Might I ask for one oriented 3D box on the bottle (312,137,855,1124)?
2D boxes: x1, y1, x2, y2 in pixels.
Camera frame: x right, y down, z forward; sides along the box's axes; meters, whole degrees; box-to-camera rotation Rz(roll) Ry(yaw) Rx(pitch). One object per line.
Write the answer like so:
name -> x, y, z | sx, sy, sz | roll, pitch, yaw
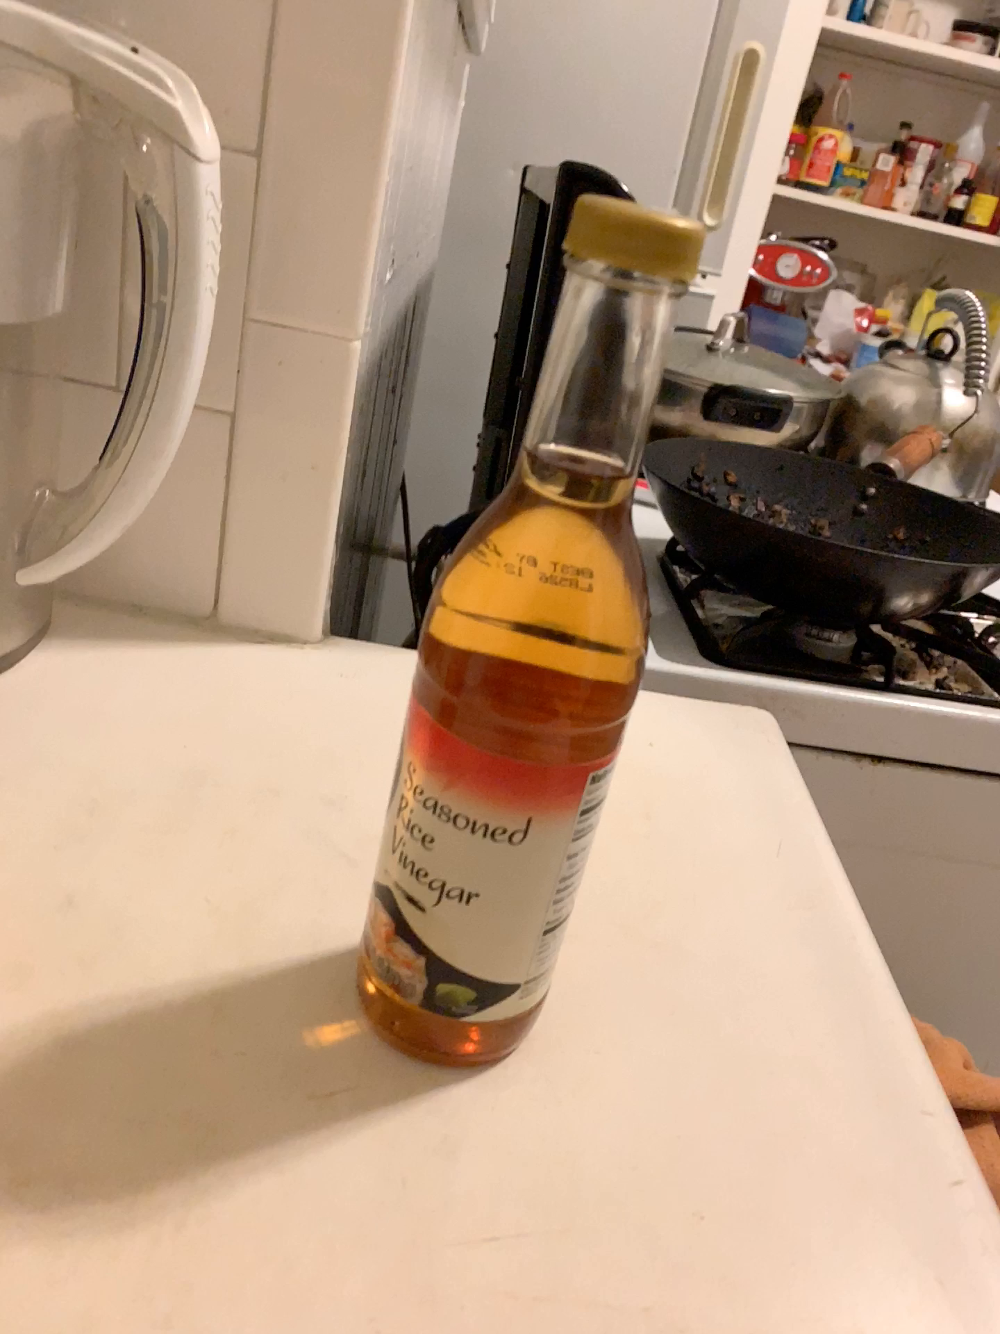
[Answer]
bottle -> 0.013, -0.001, 0.278 | 0.070, 0.239, 0.070 | 11, 26, -5
